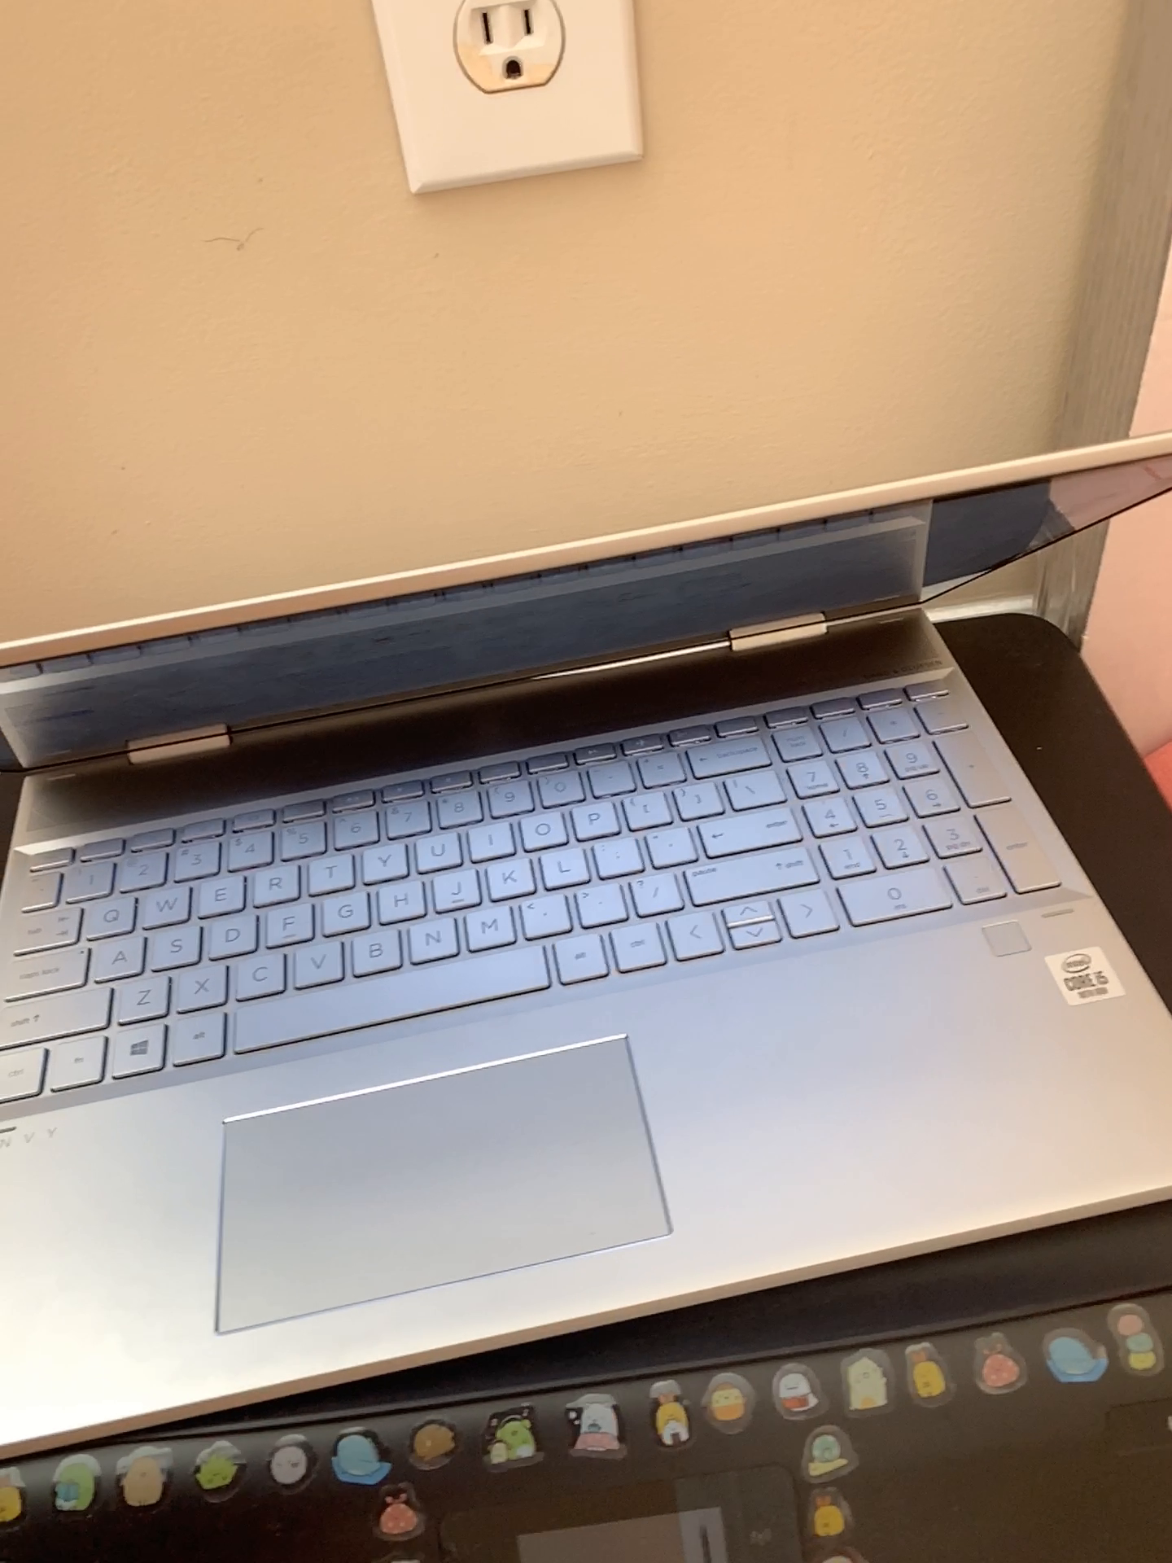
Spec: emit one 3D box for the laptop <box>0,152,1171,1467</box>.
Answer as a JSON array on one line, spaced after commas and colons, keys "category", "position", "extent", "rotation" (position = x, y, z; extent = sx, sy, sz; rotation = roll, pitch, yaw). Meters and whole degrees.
[{"category": "laptop", "position": [-0.028, -0.010, 0.322], "extent": [0.350, 0.169, 0.238], "rotation": [-11, 46, -3]}]
